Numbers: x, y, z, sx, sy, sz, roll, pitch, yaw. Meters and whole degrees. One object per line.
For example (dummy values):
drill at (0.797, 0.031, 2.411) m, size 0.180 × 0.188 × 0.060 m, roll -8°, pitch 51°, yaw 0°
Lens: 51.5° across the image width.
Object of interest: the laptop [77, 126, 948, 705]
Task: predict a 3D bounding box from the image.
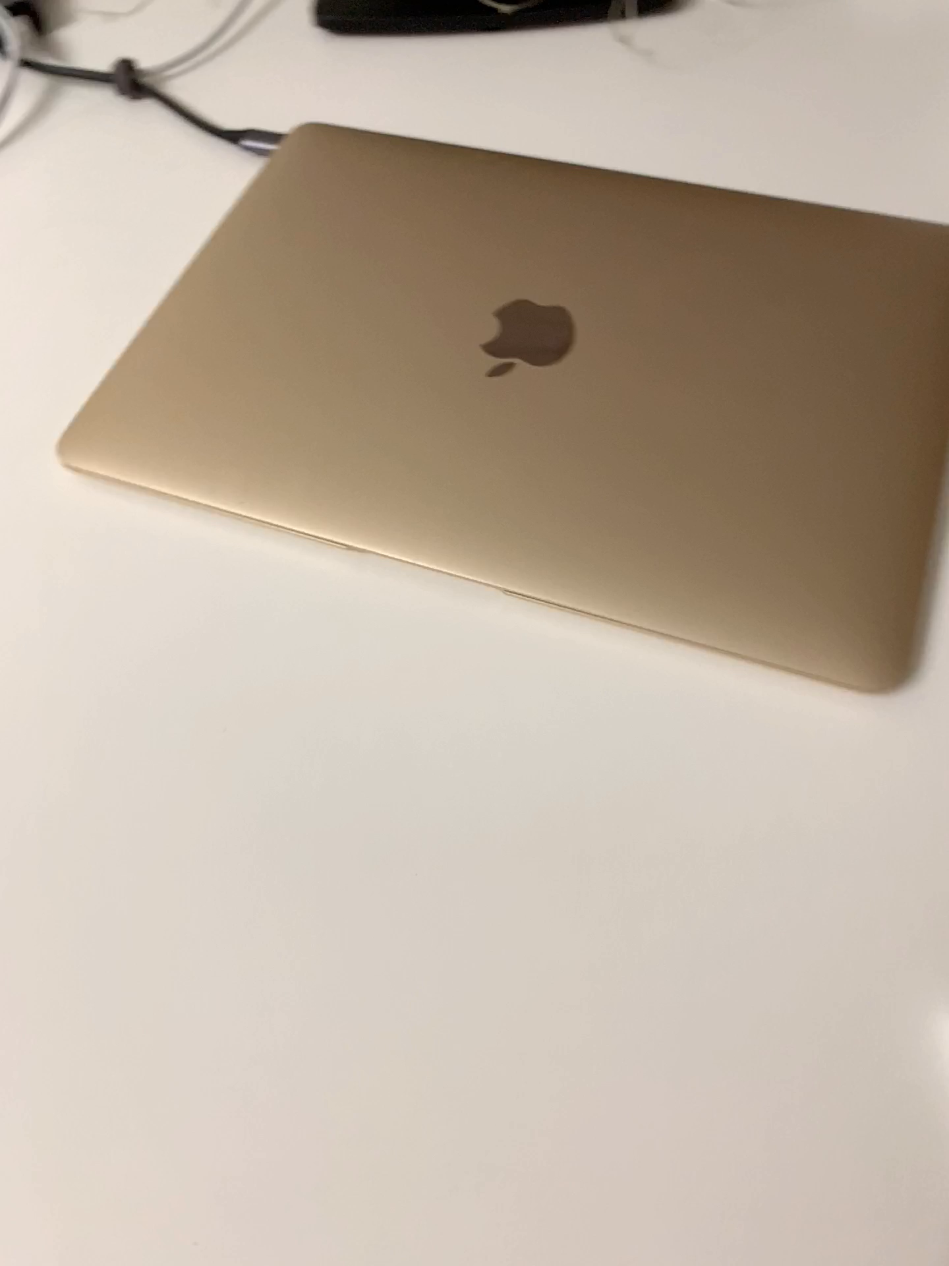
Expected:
laptop at (0.021, -0.091, 0.332) m, size 0.255 × 0.013 × 0.174 m, roll 16°, pitch 64°, yaw 13°
